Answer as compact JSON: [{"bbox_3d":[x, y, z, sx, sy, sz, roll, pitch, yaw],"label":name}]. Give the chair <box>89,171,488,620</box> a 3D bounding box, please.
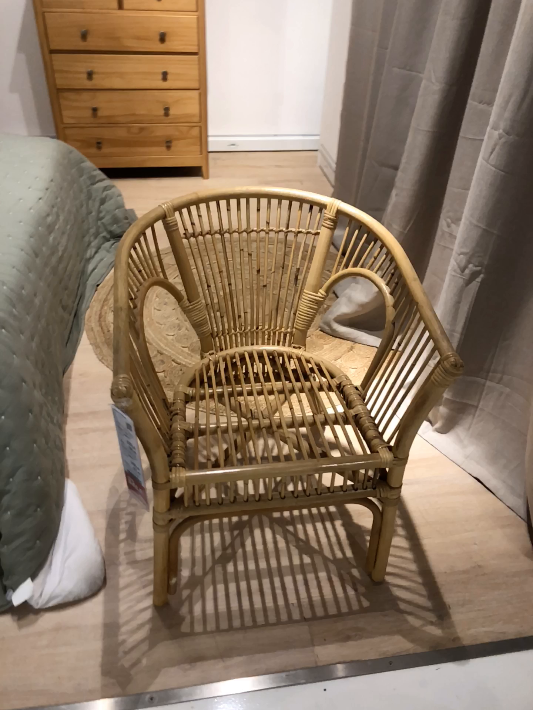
[{"bbox_3d":[-0.011,0.069,1.328,0.590,0.754,0.635,-3,37,-7],"label":"chair"}]
